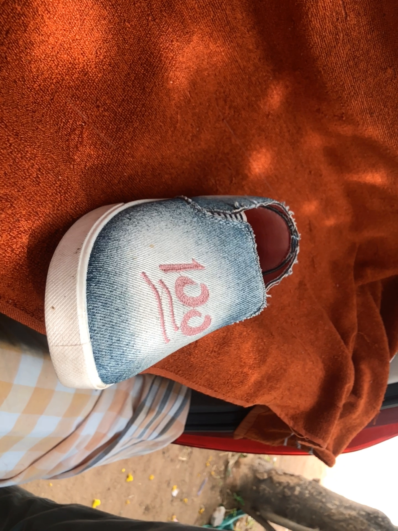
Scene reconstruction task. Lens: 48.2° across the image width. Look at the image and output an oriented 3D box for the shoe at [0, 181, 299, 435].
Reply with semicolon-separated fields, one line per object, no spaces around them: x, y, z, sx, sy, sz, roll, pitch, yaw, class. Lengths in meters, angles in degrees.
-0.009;0.000;0.312;0.242;0.079;0.090;-27;118;-54;shoe
